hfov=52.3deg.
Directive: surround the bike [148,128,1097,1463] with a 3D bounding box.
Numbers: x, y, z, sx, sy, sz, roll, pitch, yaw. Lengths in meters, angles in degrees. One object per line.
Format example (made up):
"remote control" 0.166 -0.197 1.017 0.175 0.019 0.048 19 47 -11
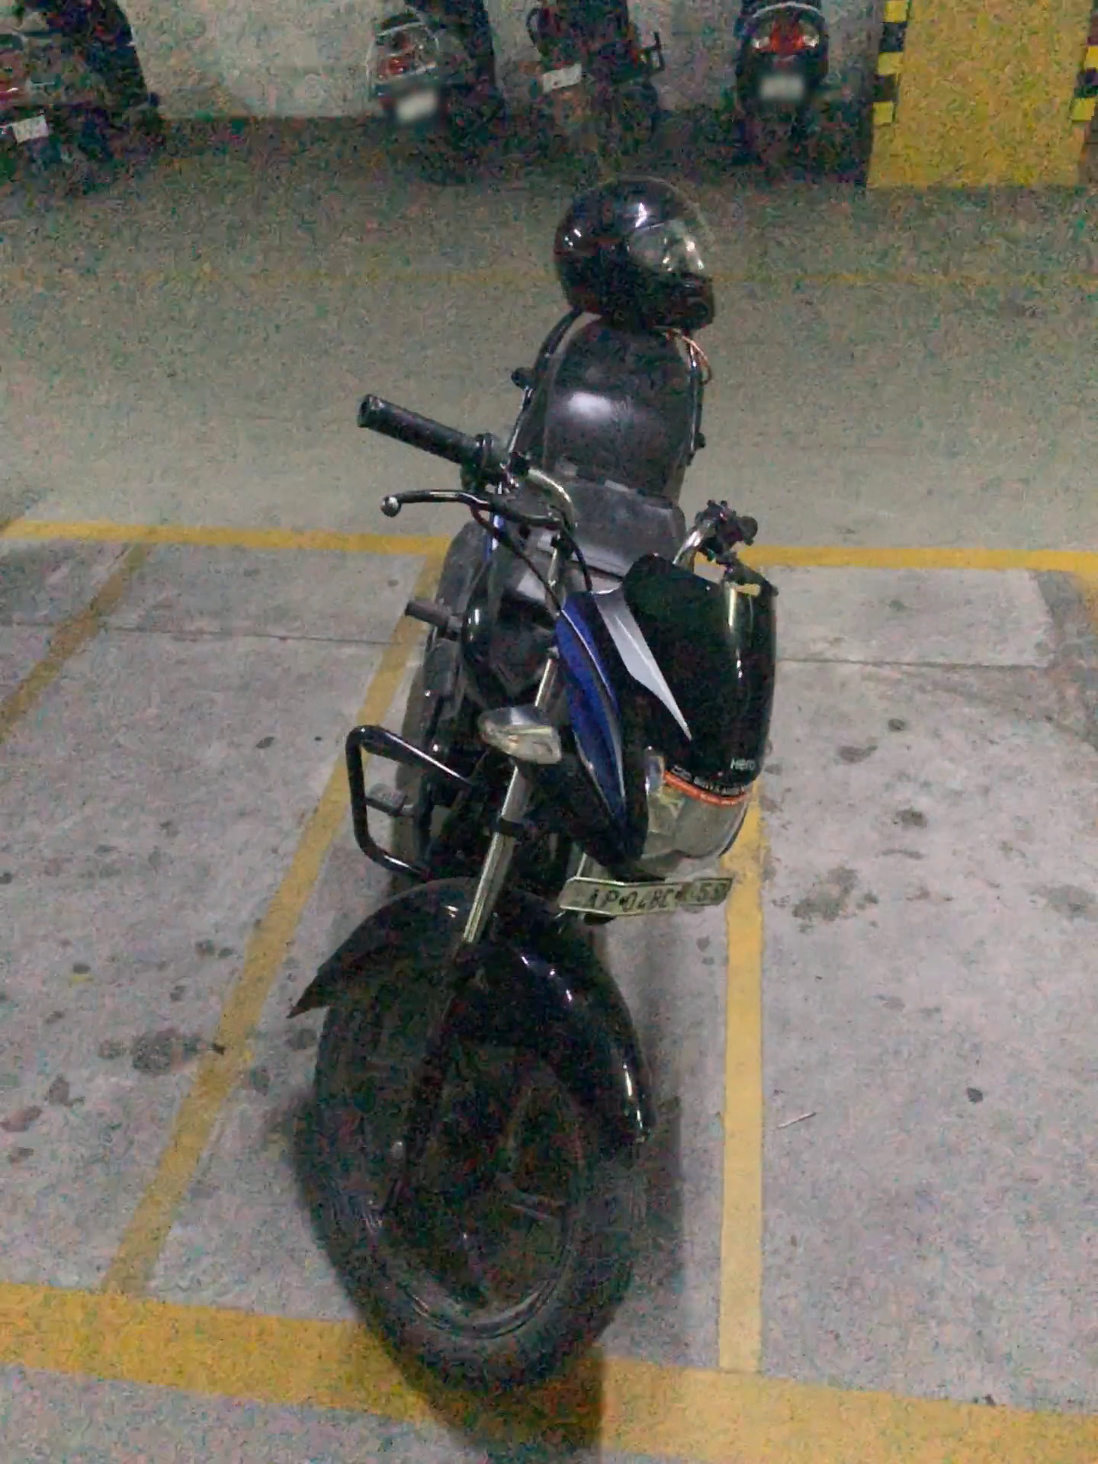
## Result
"bike" 0.127 -0.051 1.784 0.767 1.156 1.725 -1 42 4
